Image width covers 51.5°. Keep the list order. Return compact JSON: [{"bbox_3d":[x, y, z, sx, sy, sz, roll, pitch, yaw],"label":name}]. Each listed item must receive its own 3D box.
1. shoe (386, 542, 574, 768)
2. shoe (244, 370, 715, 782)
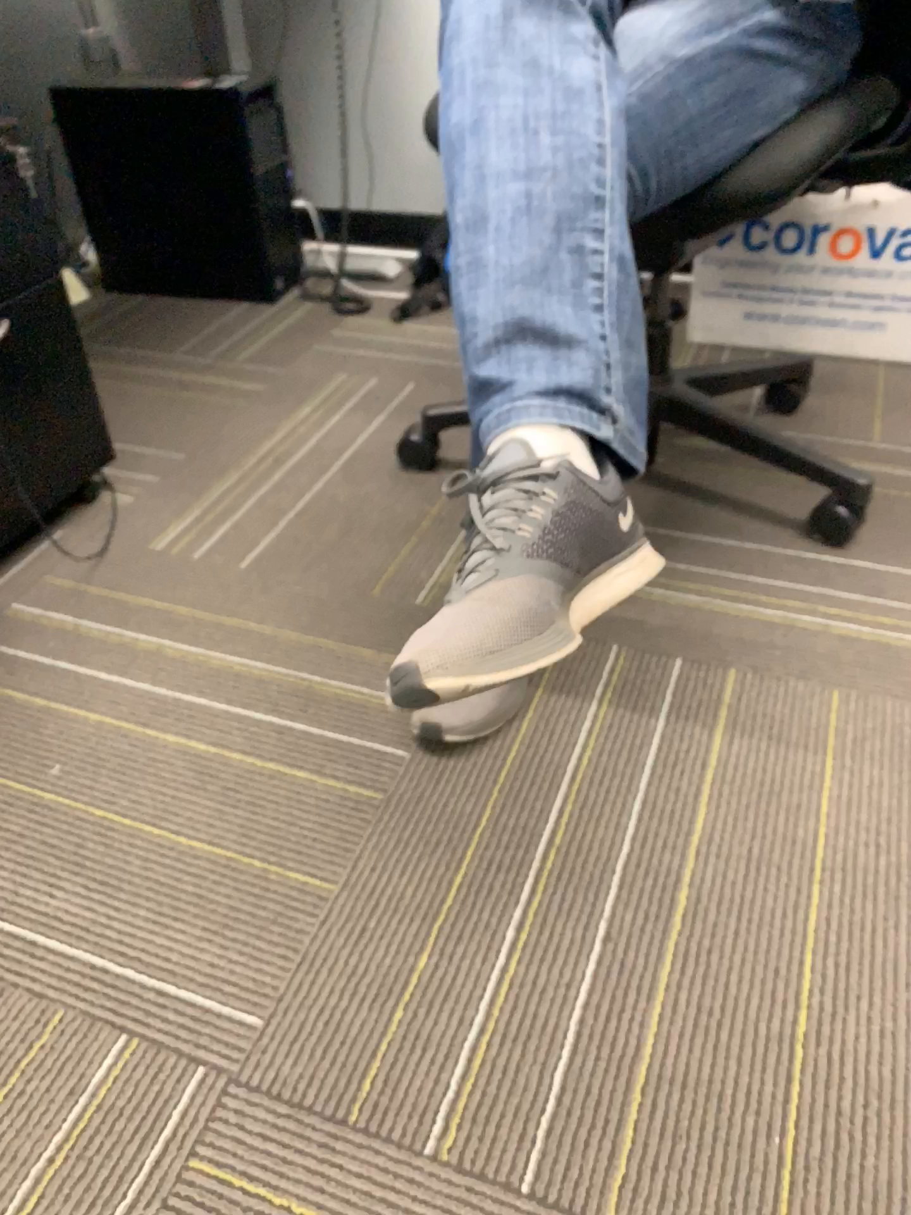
[{"bbox_3d":[0.037,0.043,1.078,0.120,0.085,0.270,13,40,19],"label":"shoe"},{"bbox_3d":[0.033,-0.034,0.637,0.122,0.143,0.296,-26,6,45],"label":"shoe"}]
